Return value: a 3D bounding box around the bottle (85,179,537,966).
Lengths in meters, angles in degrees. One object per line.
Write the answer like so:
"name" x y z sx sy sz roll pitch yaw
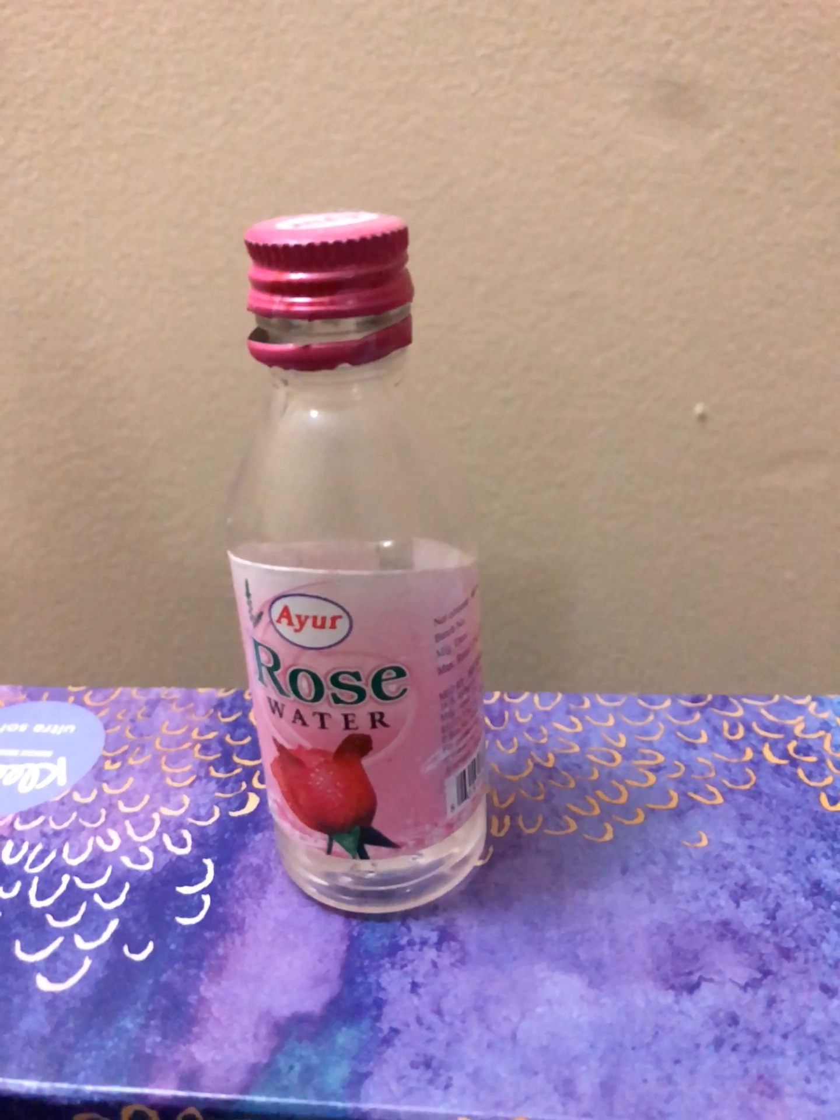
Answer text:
"bottle" -0.008 0.001 0.137 0.040 0.100 0.040 -3 26 1
